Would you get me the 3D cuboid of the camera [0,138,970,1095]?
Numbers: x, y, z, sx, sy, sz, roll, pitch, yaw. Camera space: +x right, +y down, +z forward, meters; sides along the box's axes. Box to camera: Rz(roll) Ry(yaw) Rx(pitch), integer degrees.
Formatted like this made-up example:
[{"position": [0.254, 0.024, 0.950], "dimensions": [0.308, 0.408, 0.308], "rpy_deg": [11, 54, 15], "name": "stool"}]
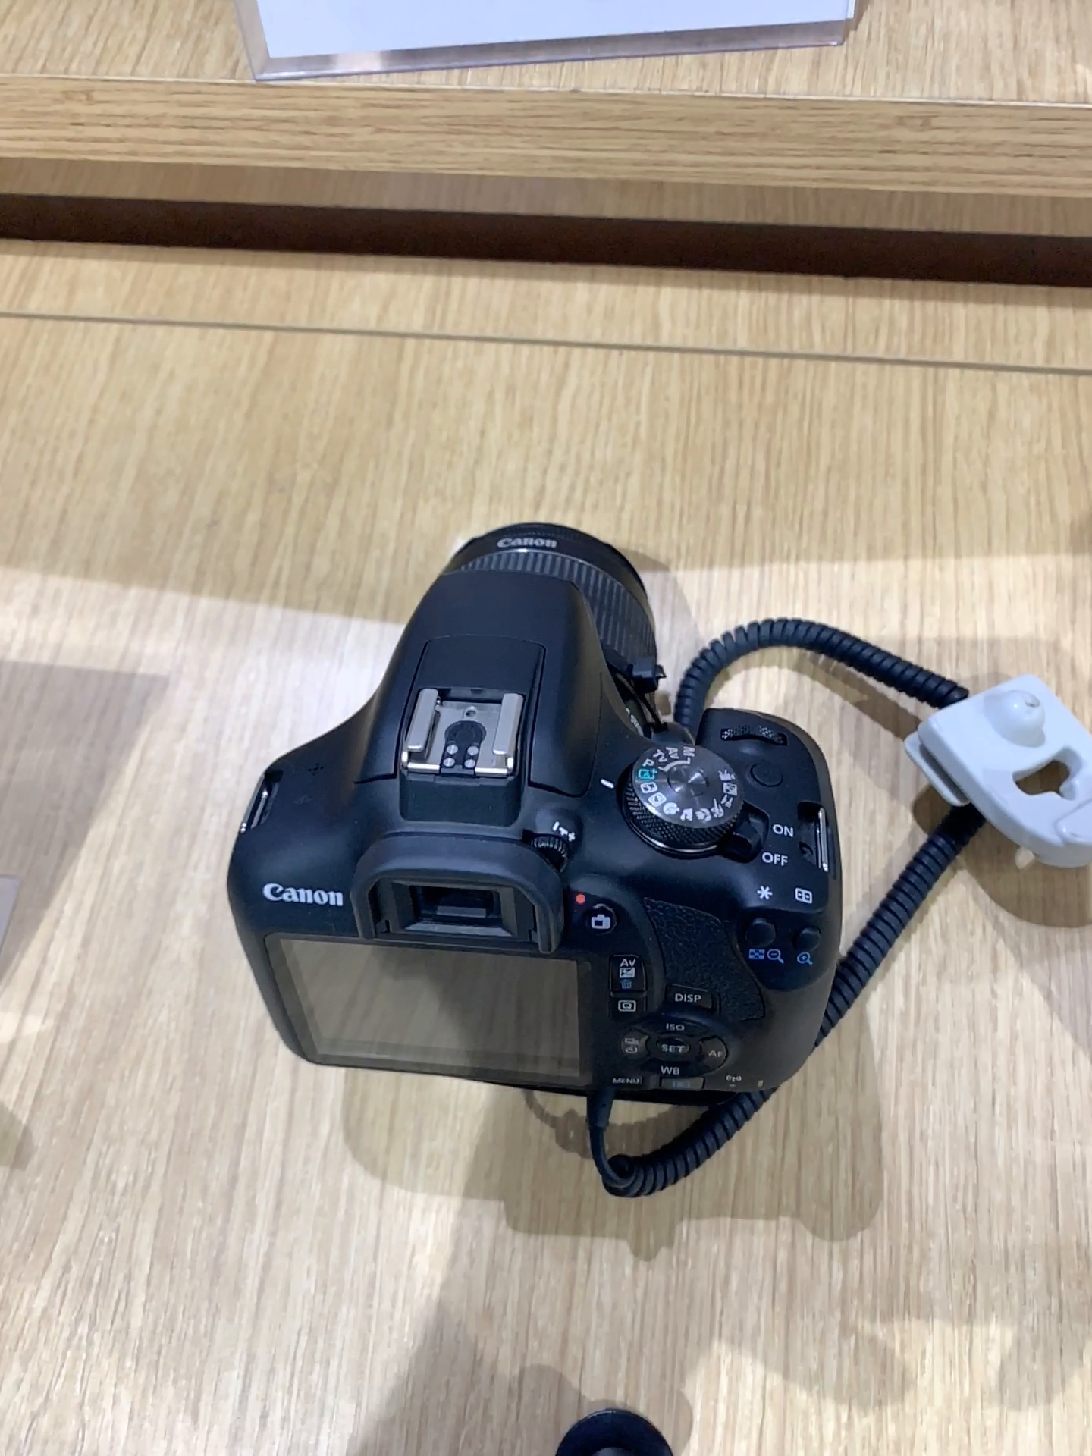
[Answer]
[{"position": [-0.002, -0.018, 0.238], "dimensions": [0.140, 0.110, 0.160], "rpy_deg": [4, 67, 6], "name": "camera"}]
